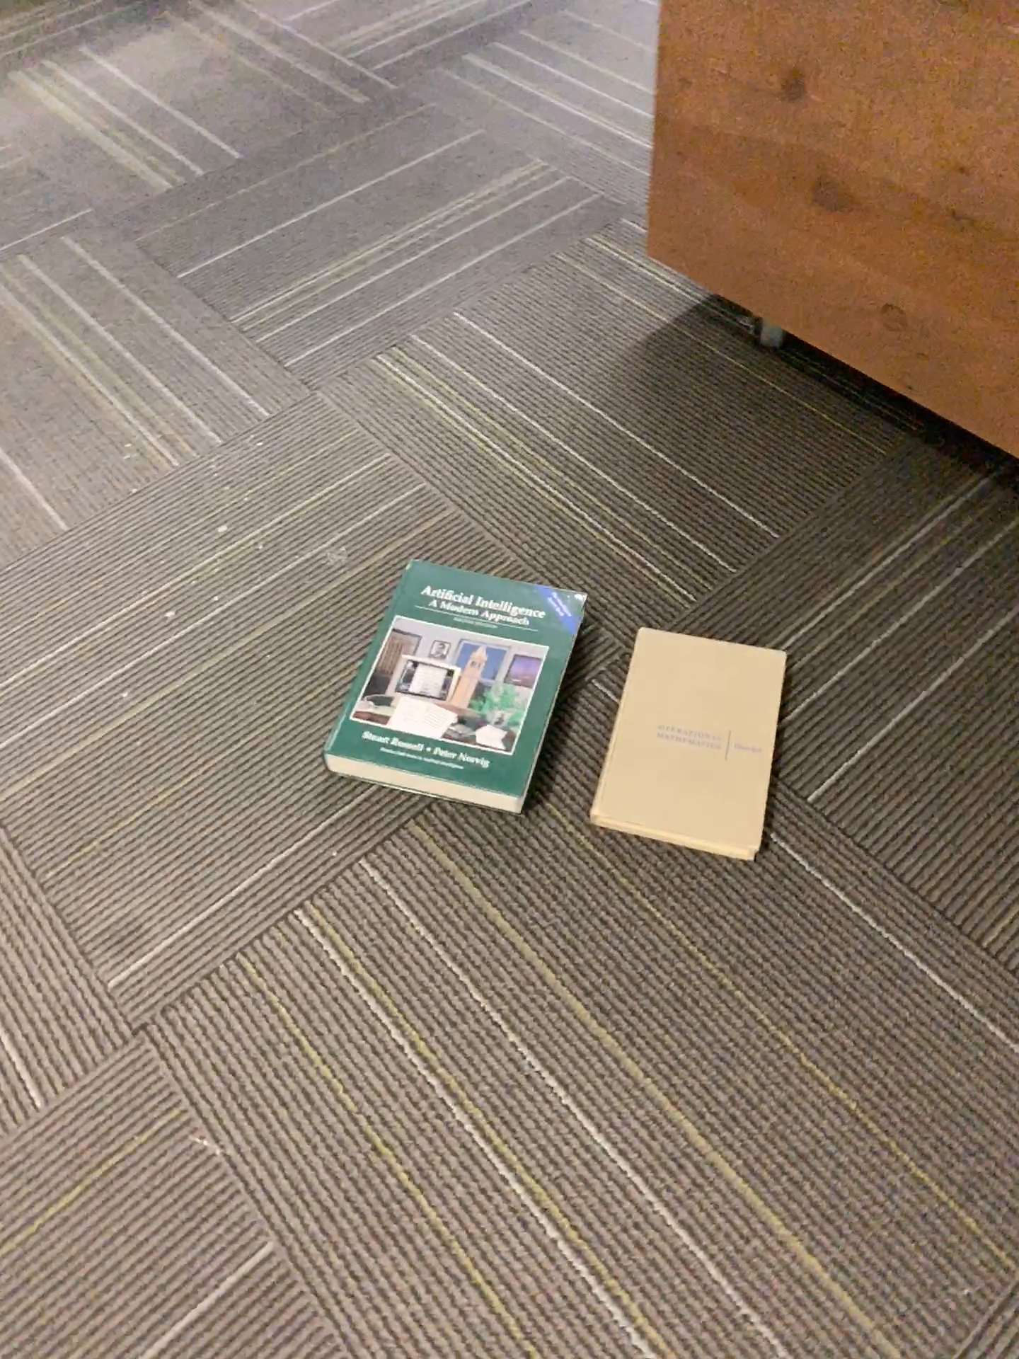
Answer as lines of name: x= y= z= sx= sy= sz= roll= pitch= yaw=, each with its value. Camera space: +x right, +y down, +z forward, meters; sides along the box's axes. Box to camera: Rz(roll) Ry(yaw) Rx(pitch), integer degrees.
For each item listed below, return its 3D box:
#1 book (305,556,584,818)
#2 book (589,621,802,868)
book: x=-0.060 y=-0.003 z=1.106 sx=0.222 sy=0.030 sz=0.277 roll=11 pitch=56 yaw=12
book: x=0.191 y=0.057 z=1.046 sx=0.170 sy=0.030 sz=0.241 roll=11 pitch=56 yaw=12
